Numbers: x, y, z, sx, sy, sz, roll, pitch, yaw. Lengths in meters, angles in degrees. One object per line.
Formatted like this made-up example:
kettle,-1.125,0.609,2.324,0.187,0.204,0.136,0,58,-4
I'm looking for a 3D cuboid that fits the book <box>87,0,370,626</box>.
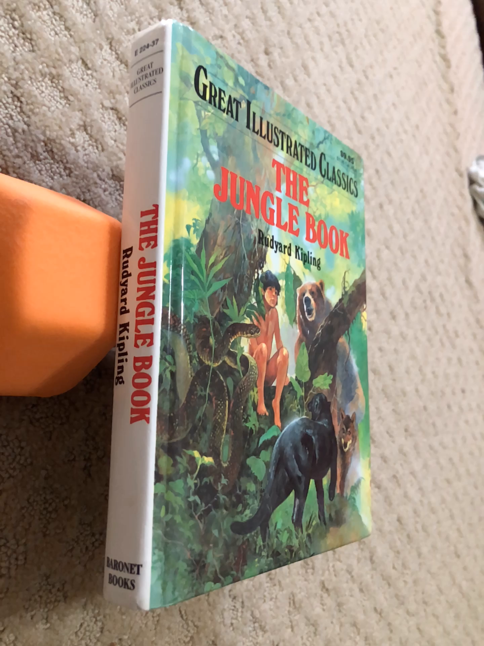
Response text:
book,0.008,-0.004,0.236,0.141,0.029,0.207,12,75,-49
